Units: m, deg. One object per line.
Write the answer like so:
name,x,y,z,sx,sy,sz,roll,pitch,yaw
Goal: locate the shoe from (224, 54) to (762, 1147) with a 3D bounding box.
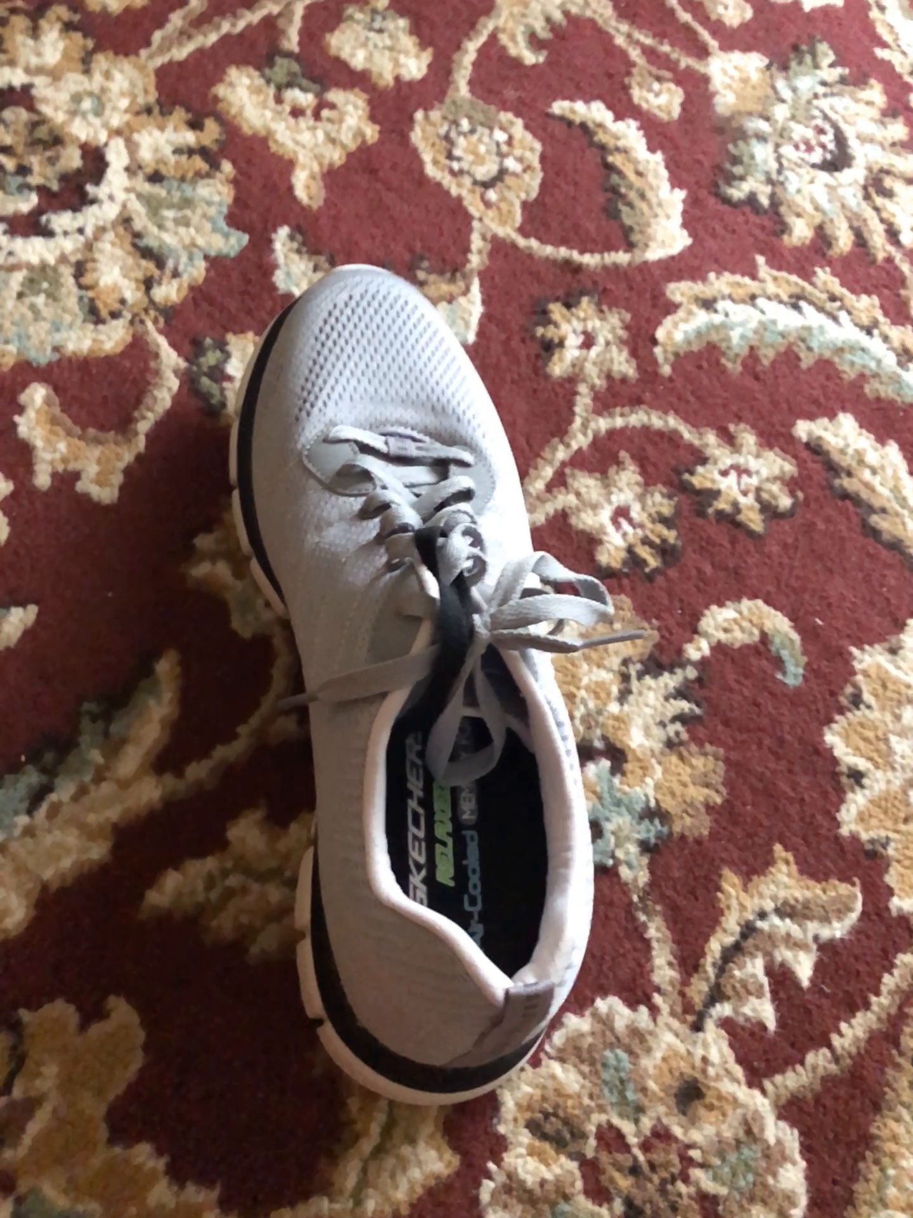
shoe,-0.015,-0.007,0.324,0.100,0.130,0.300,0,66,-16
